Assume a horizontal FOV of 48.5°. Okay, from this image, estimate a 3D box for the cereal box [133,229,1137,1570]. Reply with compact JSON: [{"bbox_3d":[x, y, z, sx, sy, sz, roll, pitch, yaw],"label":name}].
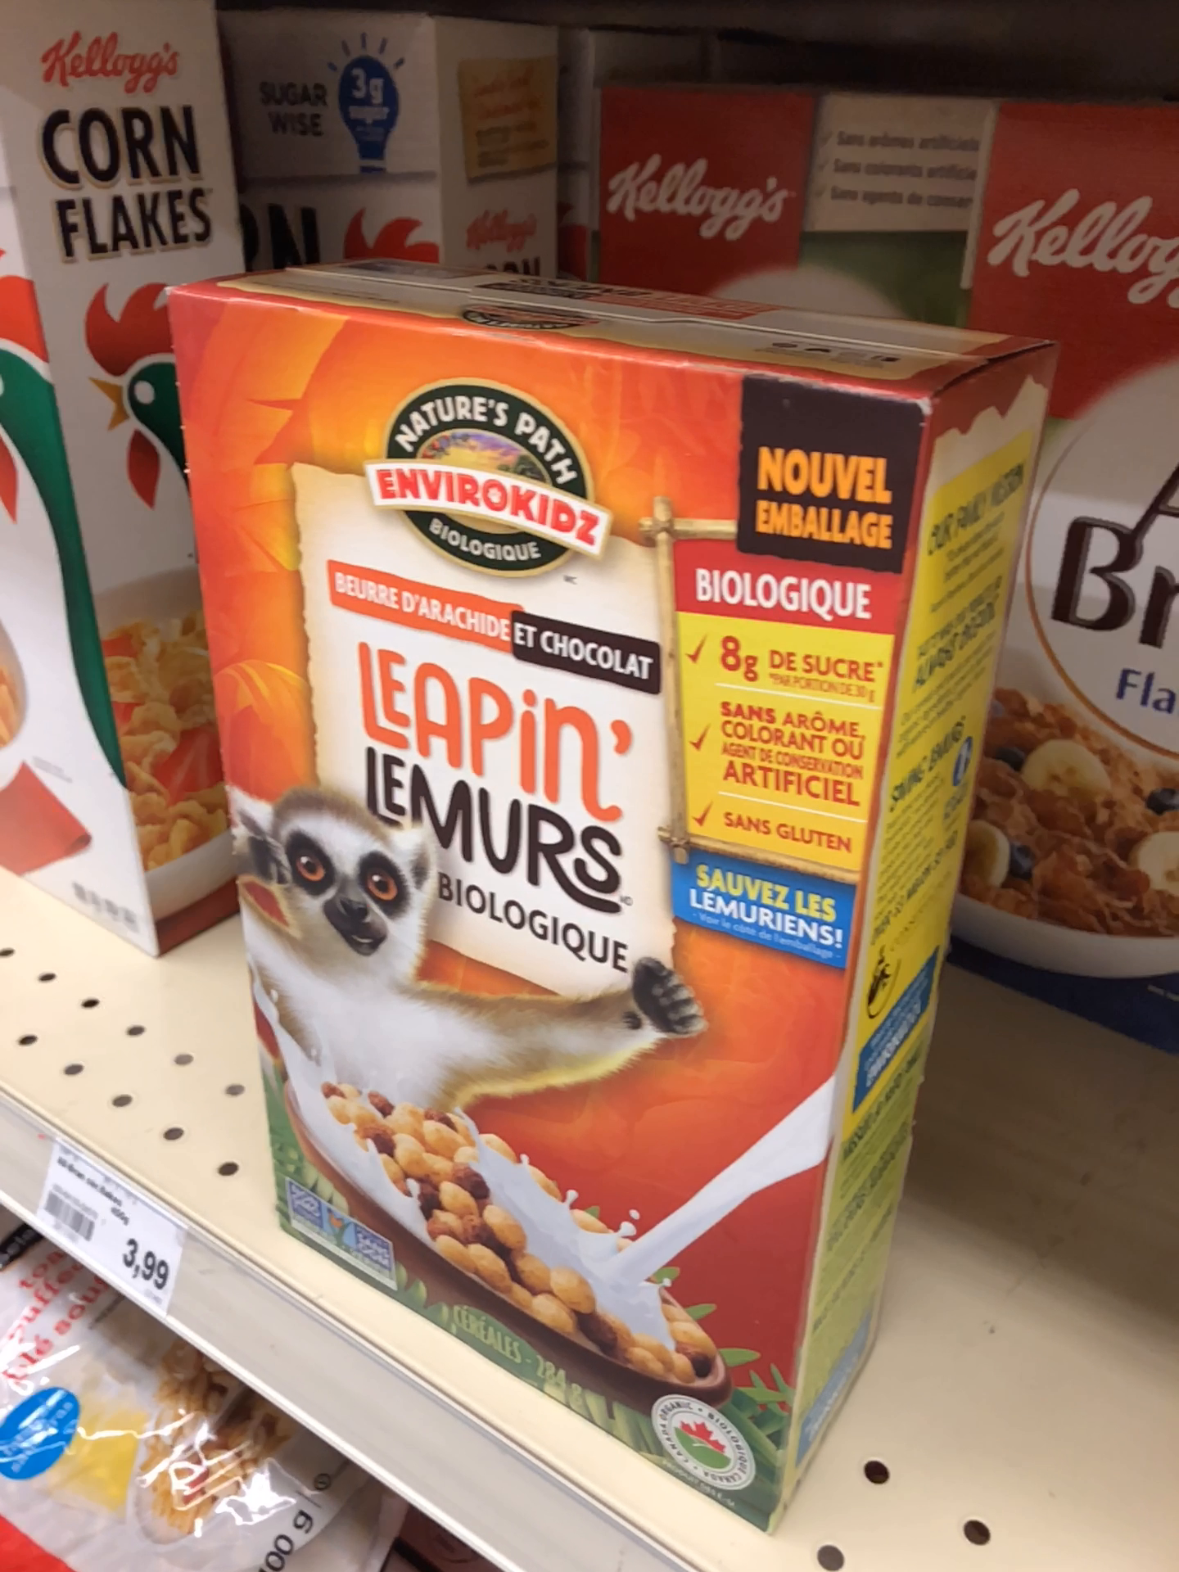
[{"bbox_3d":[0.000,0.022,0.297,0.170,0.258,0.070,19,33,30],"label":"cereal box"}]
